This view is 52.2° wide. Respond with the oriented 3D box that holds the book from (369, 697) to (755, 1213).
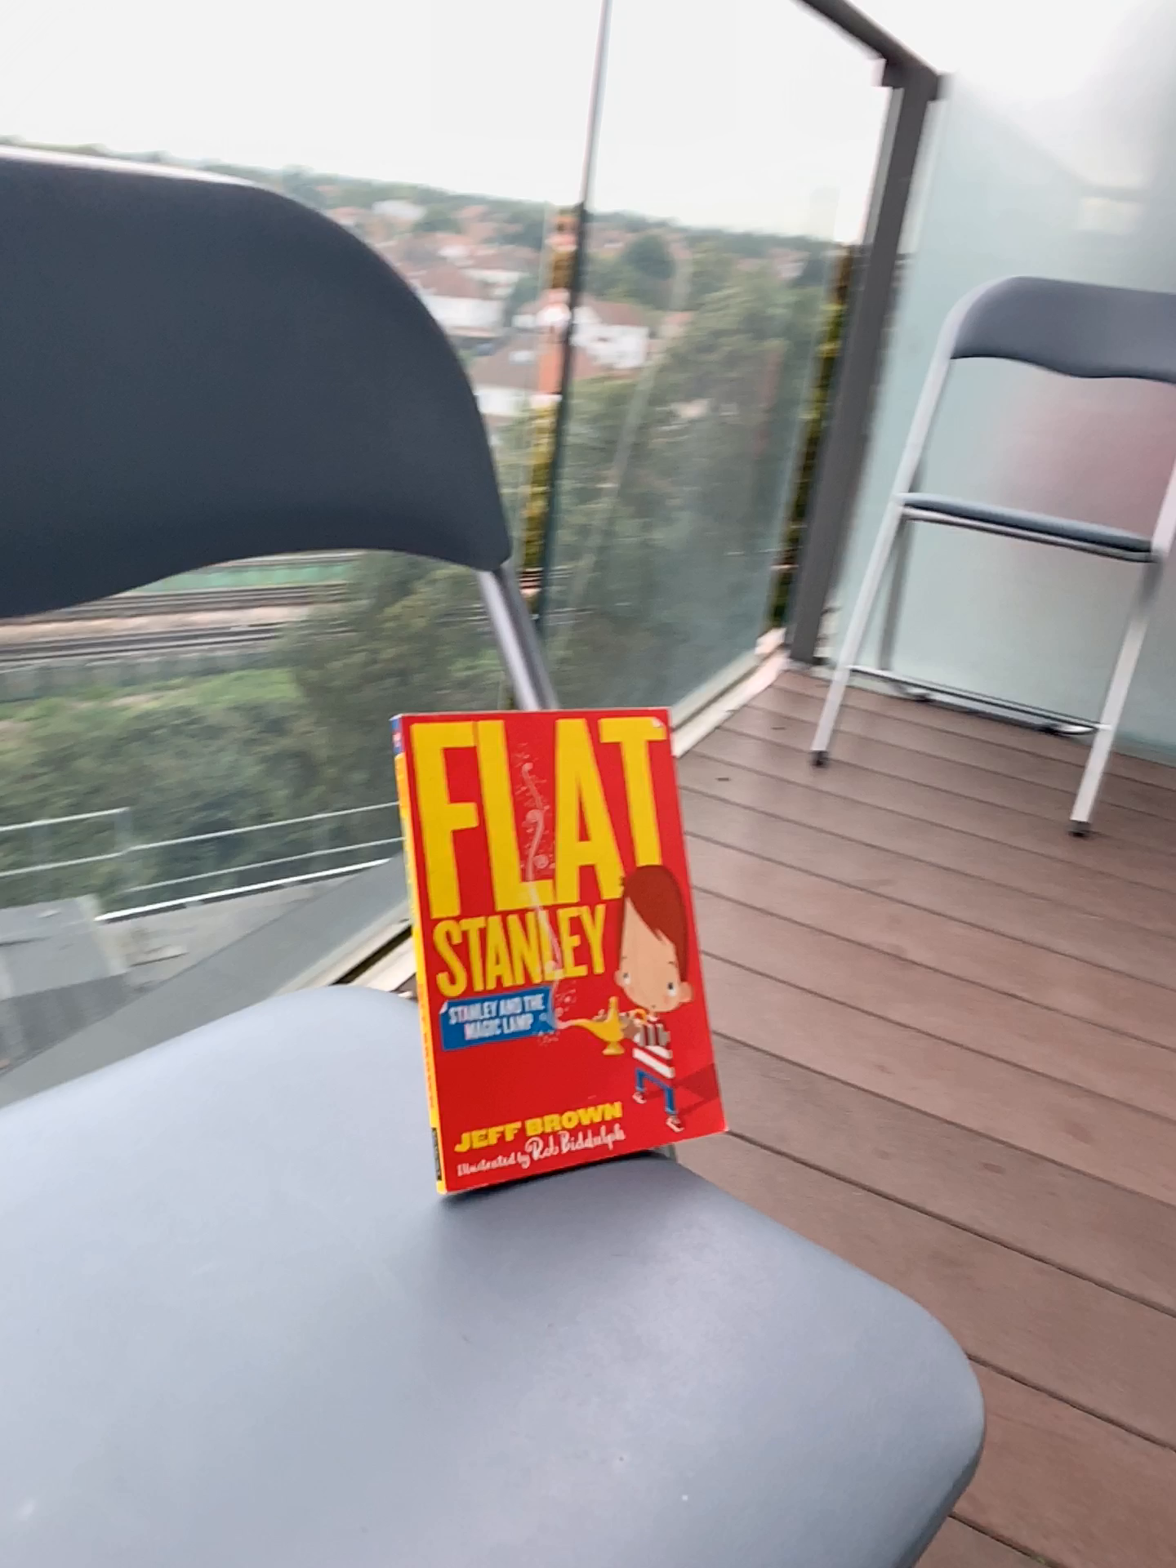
[{"bbox_3d":[-0.010,0.062,0.496,0.140,0.191,0.020,-4,-8,-24],"label":"book"}]
